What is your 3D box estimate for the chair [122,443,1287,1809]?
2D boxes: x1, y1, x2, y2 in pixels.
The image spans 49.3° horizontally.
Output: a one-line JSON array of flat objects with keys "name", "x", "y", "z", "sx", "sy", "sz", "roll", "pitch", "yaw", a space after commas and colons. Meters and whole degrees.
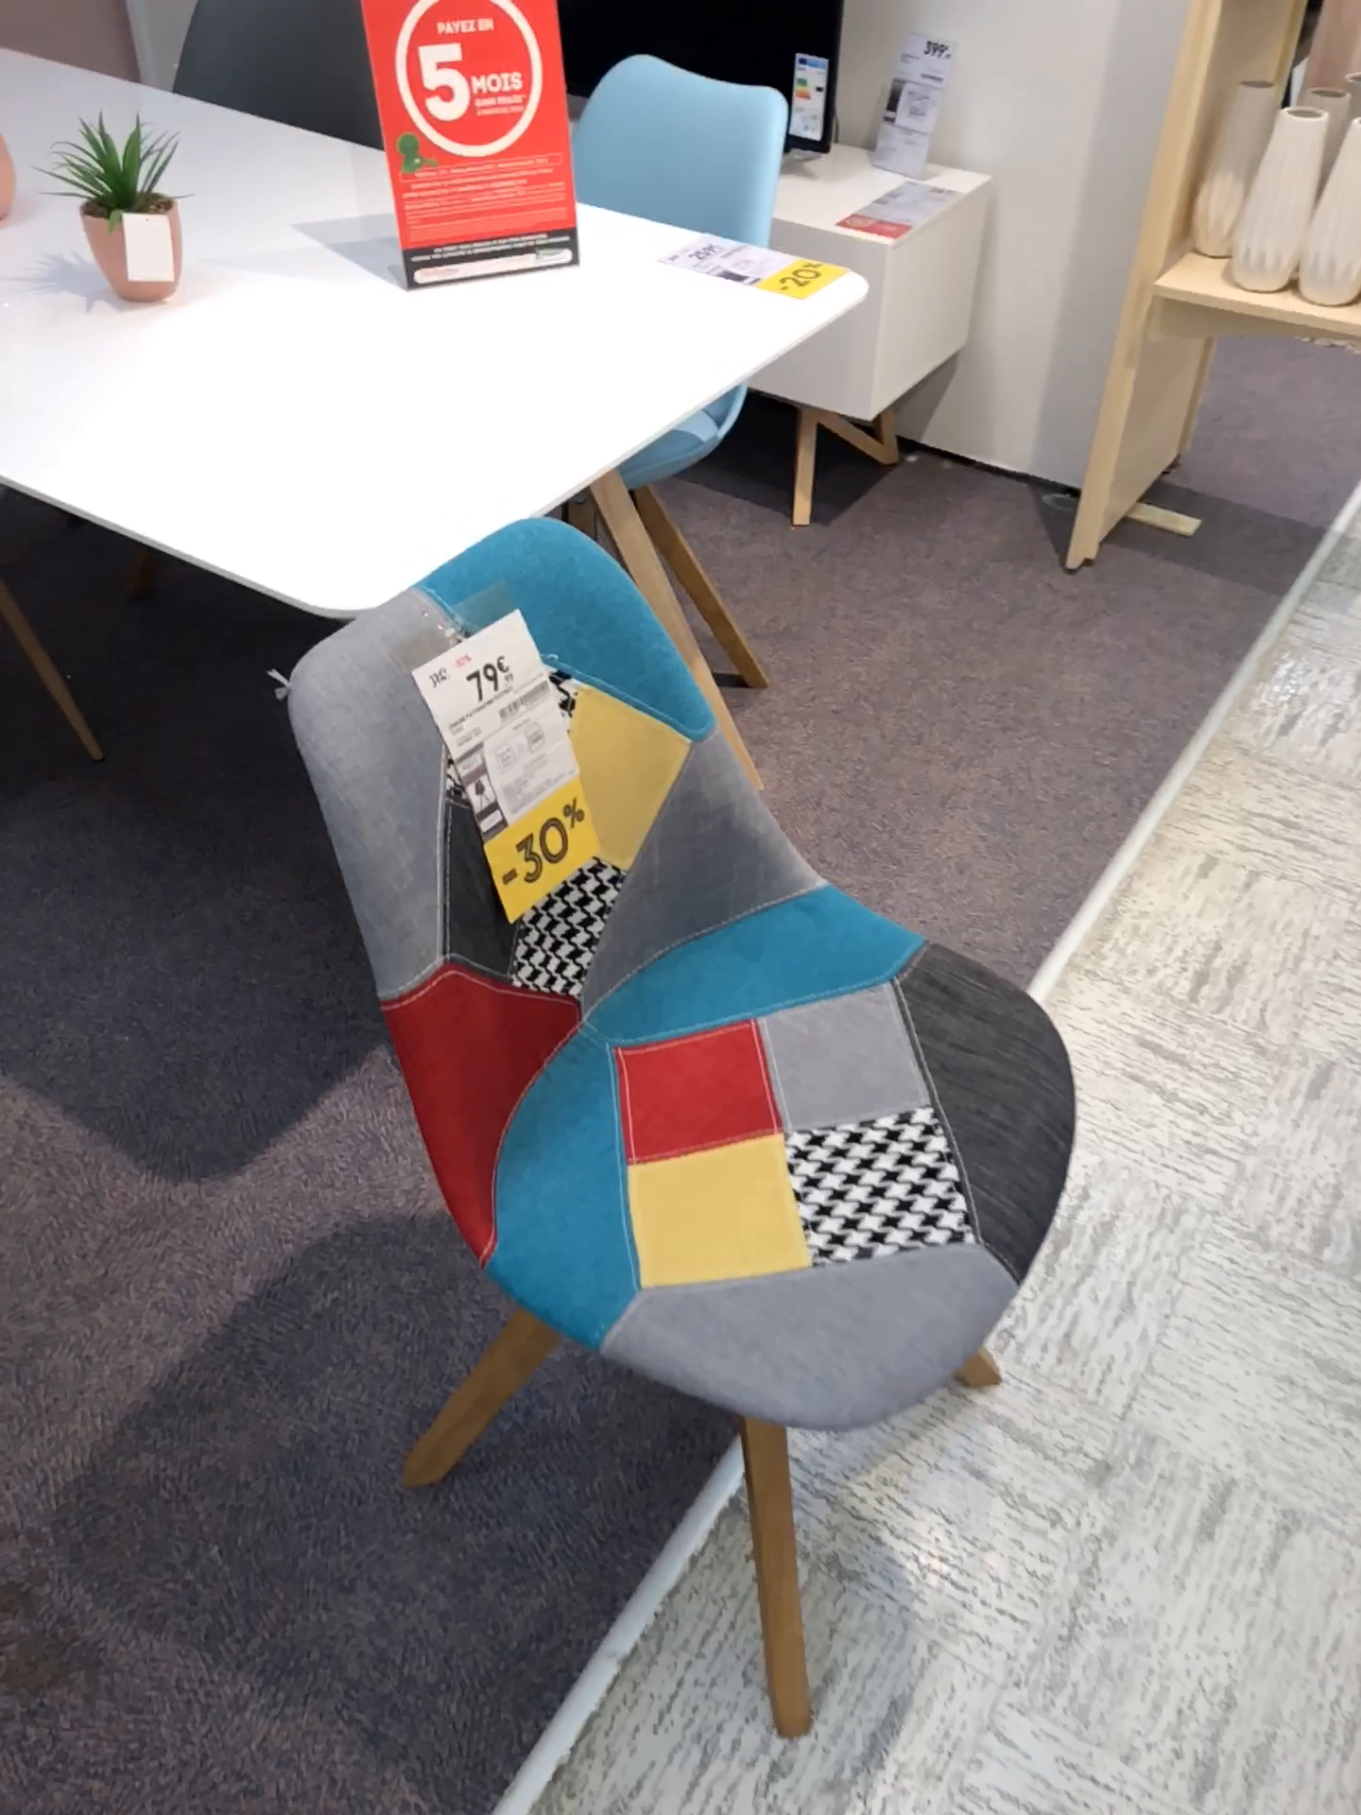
[{"name": "chair", "x": 0.026, "y": 0.183, "z": 1.137, "sx": 0.510, "sy": 0.815, "sz": 0.473, "roll": 23, "pitch": 47, "yaw": 21}]
